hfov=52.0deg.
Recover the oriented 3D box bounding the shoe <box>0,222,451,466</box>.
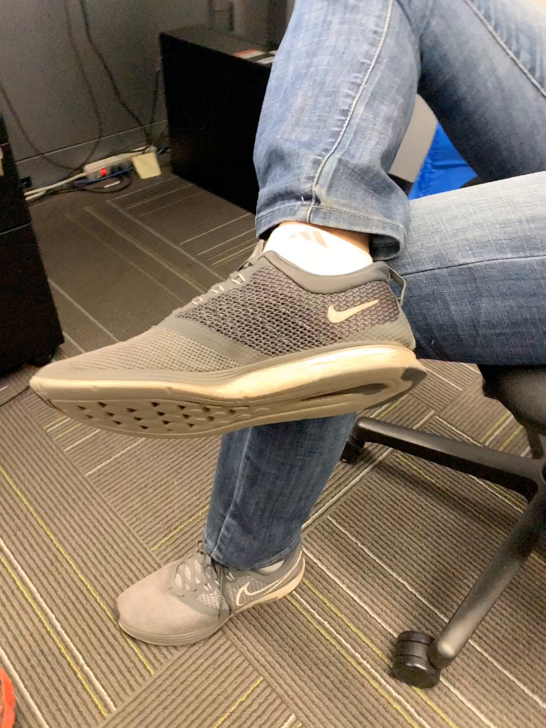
[{"bbox_3d":[-0.035,-0.015,0.446,0.295,0.120,0.134,3,47,-3],"label":"shoe"}]

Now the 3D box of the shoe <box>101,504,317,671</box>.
[{"bbox_3d":[-0.093,0.326,0.834,0.287,0.092,0.114,-15,47,-18],"label":"shoe"}]
